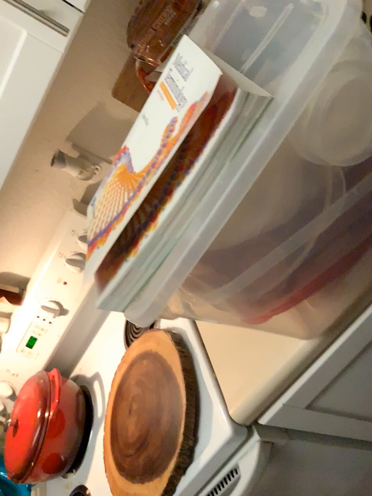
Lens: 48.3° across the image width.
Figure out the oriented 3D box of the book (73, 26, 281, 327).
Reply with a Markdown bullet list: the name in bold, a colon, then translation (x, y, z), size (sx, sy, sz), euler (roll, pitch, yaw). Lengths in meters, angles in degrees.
- **book**: translation (-0.044, -0.095, 0.492), size (0.290, 0.050, 0.230), euler (-55, 31, 21)
